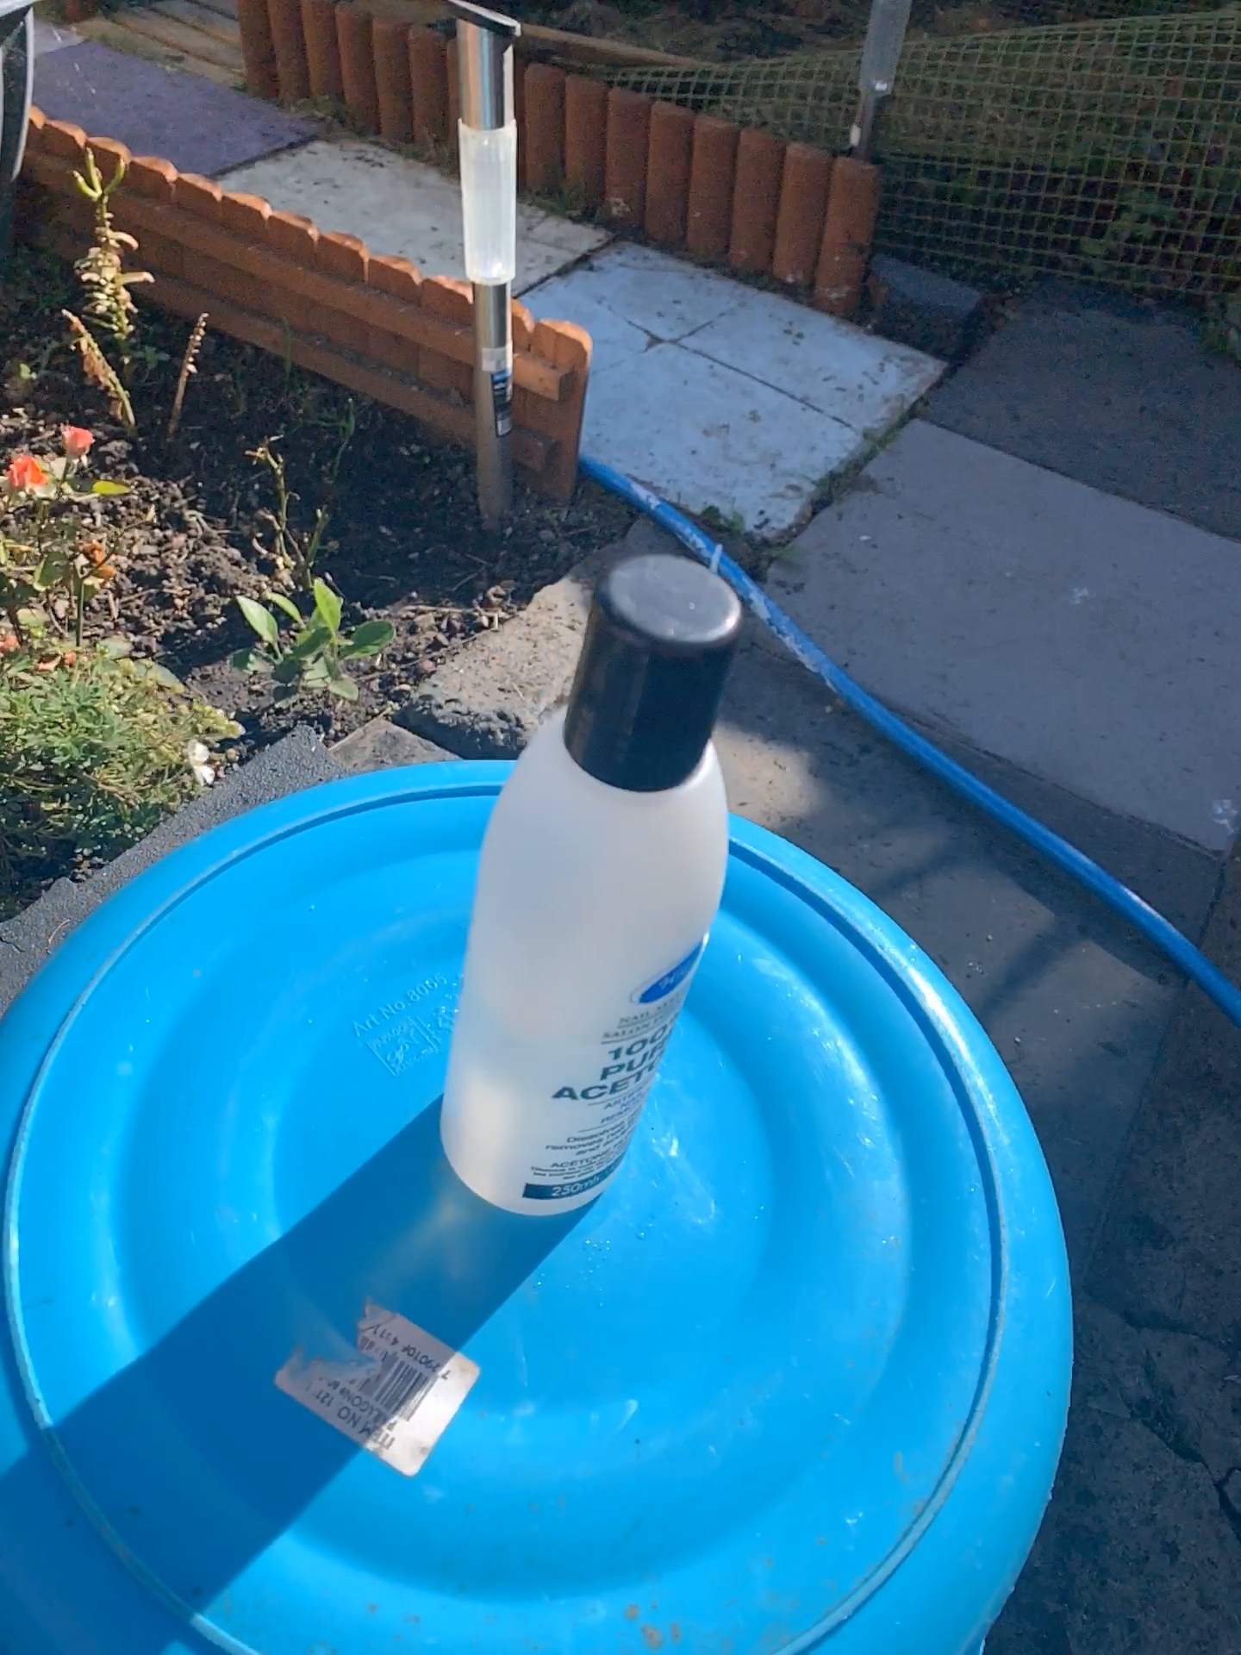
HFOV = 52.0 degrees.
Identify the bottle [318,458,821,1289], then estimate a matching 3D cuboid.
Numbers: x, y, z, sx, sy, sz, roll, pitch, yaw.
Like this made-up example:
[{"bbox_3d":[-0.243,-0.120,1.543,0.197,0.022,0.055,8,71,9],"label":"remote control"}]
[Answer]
[{"bbox_3d":[-0.016,0.022,0.278,0.060,0.178,0.060,4,47,-4],"label":"bottle"}]
